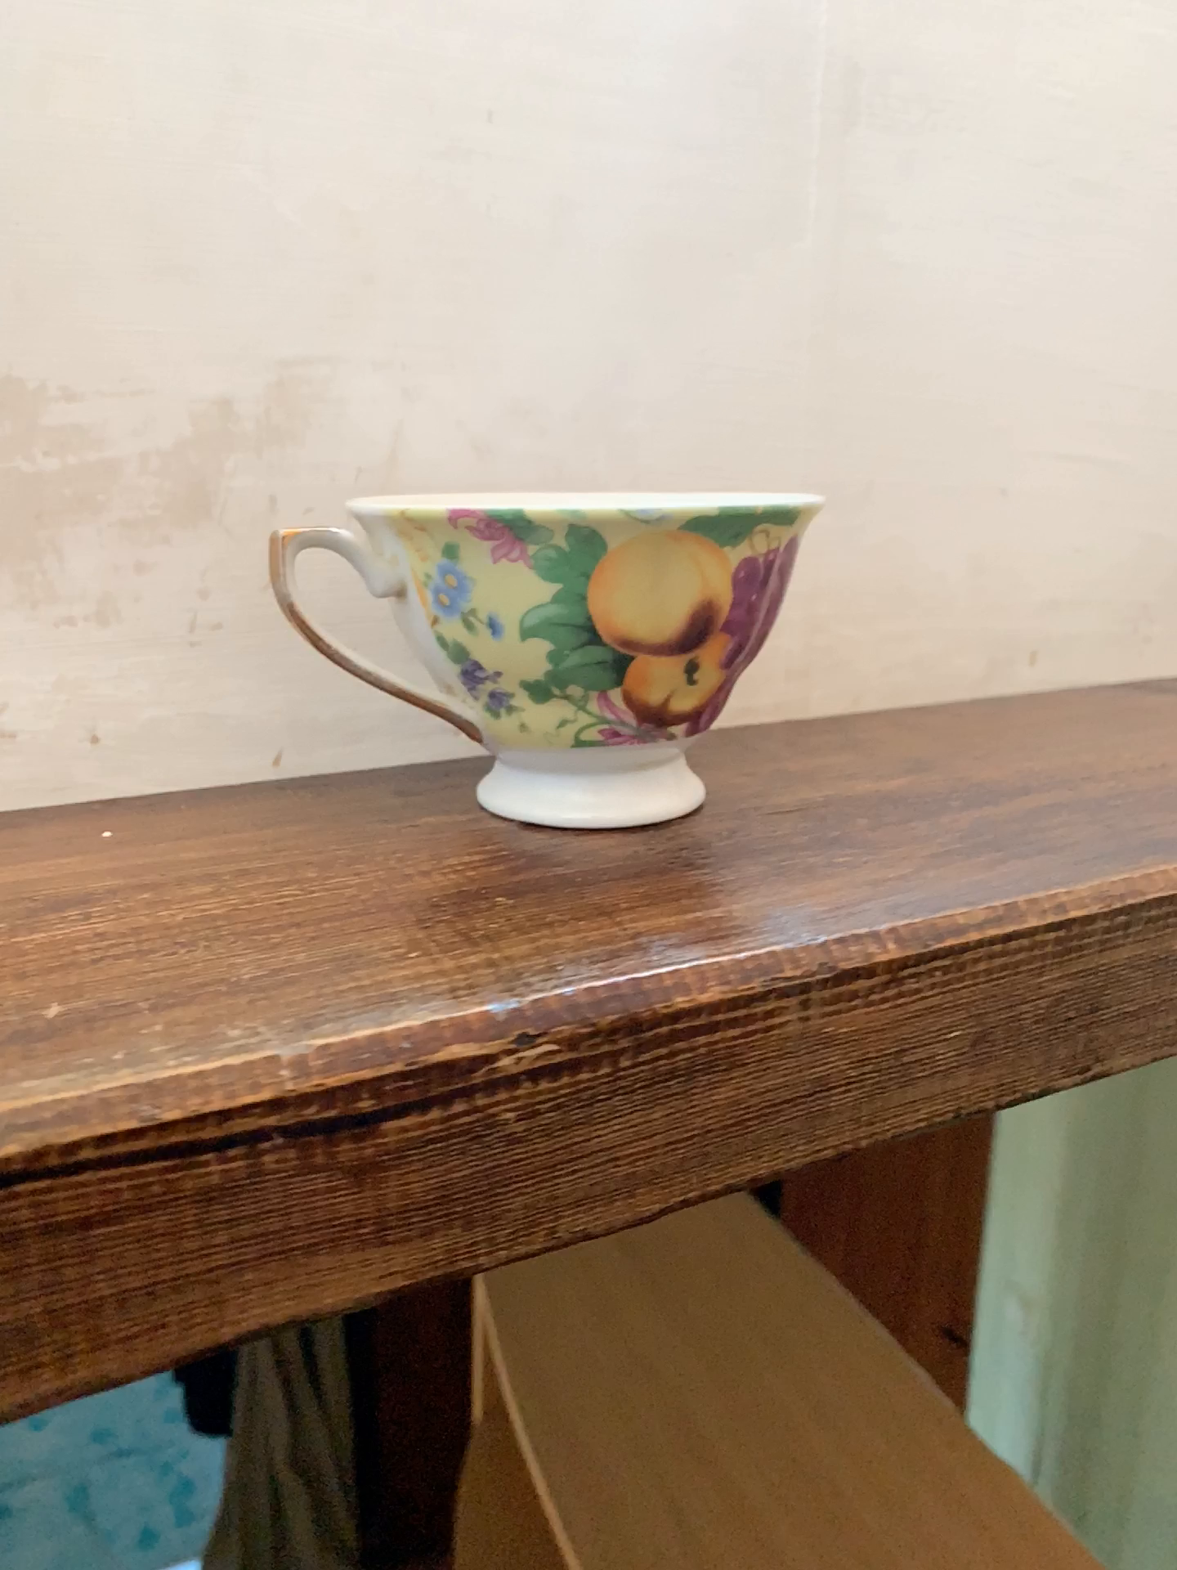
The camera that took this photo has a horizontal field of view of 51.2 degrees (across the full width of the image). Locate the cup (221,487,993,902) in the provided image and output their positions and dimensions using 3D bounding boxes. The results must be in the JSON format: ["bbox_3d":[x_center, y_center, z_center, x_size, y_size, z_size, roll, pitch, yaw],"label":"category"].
[{"bbox_3d":[0.001,-0.029,0.249,0.123,0.058,0.091,-8,17,-28],"label":"cup"}]
